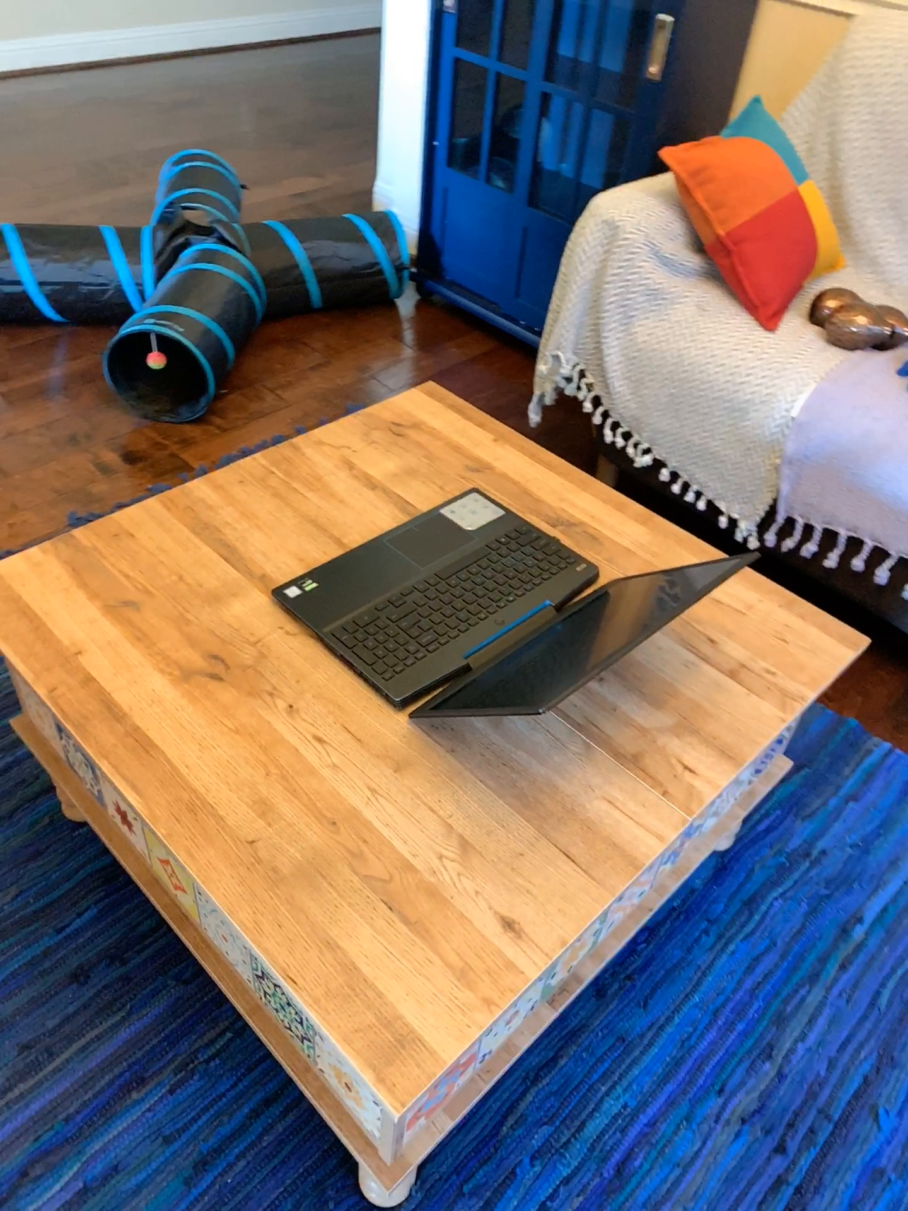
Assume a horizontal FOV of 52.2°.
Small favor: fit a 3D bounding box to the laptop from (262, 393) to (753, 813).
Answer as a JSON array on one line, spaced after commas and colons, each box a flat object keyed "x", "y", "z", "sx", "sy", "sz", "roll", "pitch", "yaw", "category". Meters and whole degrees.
[{"x": 0.051, "y": -0.037, "z": 1.067, "sx": 0.346, "sy": 0.156, "sz": 0.419, "roll": -31, "pitch": 54, "yaw": -34, "category": "laptop"}]
